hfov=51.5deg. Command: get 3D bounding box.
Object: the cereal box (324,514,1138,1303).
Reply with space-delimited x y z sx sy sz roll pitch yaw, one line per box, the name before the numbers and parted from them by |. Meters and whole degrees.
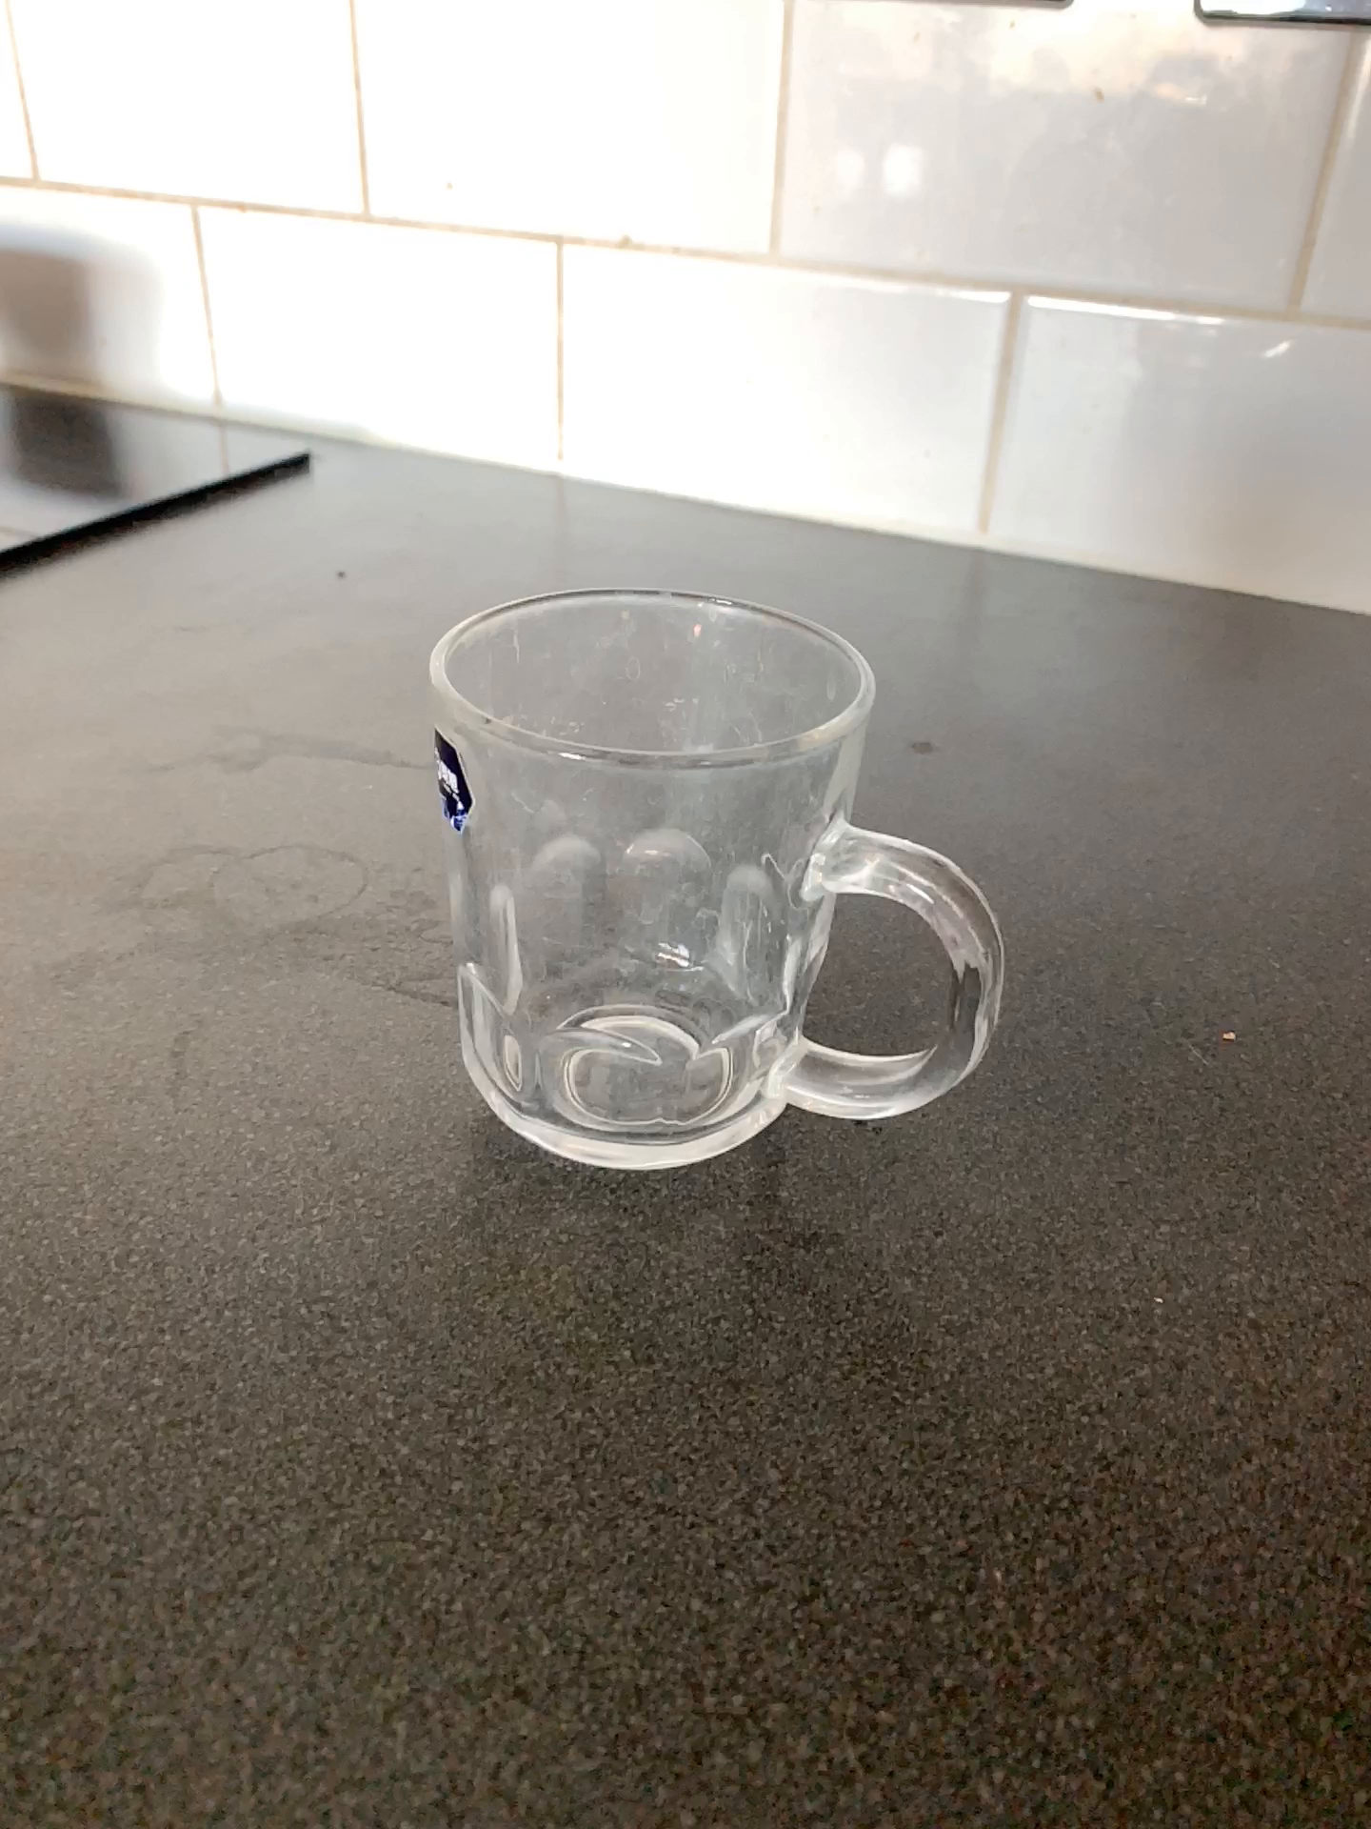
cereal box | 0.010 -0.008 0.252 0.110 0.089 0.081 14 33 18
